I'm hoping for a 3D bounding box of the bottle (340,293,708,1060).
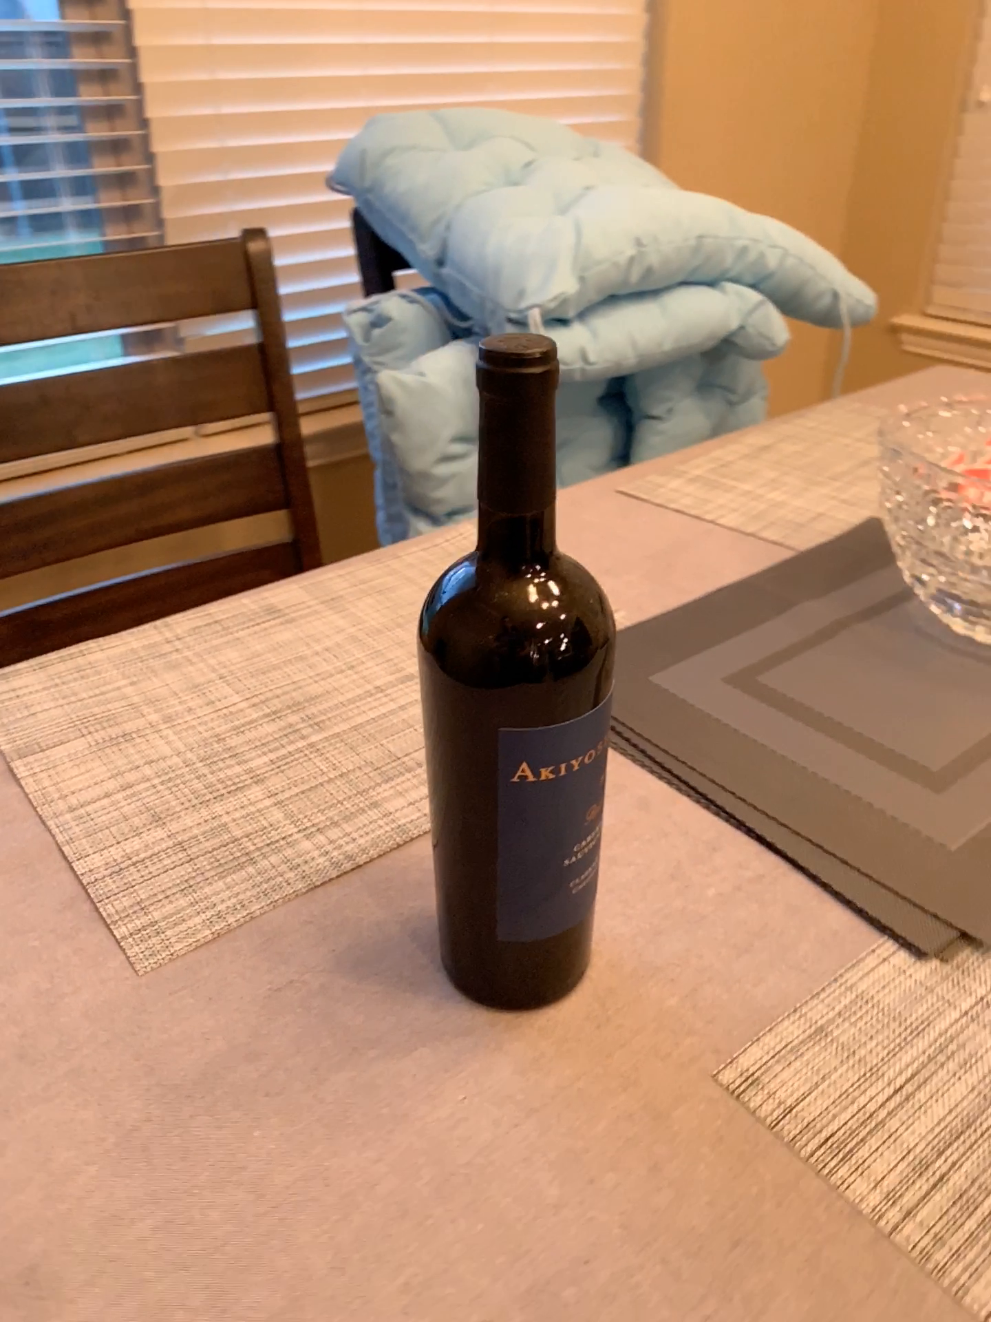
[{"bbox_3d":[0.010,0.014,0.429,0.090,0.298,0.090,0,30,0],"label":"bottle"}]
